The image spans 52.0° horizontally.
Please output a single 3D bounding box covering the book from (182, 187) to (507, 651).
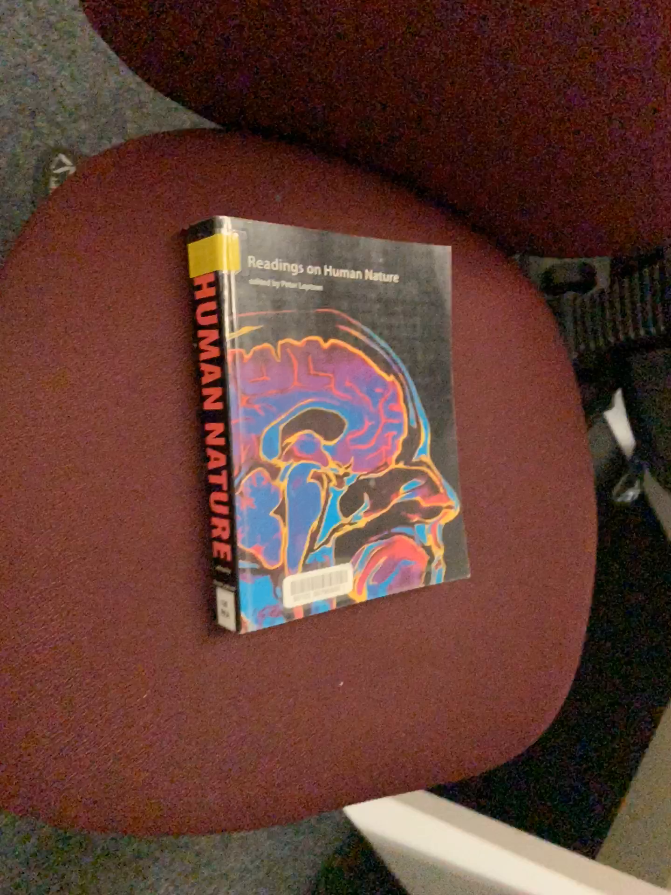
[{"bbox_3d":[0.015,-0.020,0.431,0.201,0.040,0.240,-4,89,-36],"label":"book"}]
